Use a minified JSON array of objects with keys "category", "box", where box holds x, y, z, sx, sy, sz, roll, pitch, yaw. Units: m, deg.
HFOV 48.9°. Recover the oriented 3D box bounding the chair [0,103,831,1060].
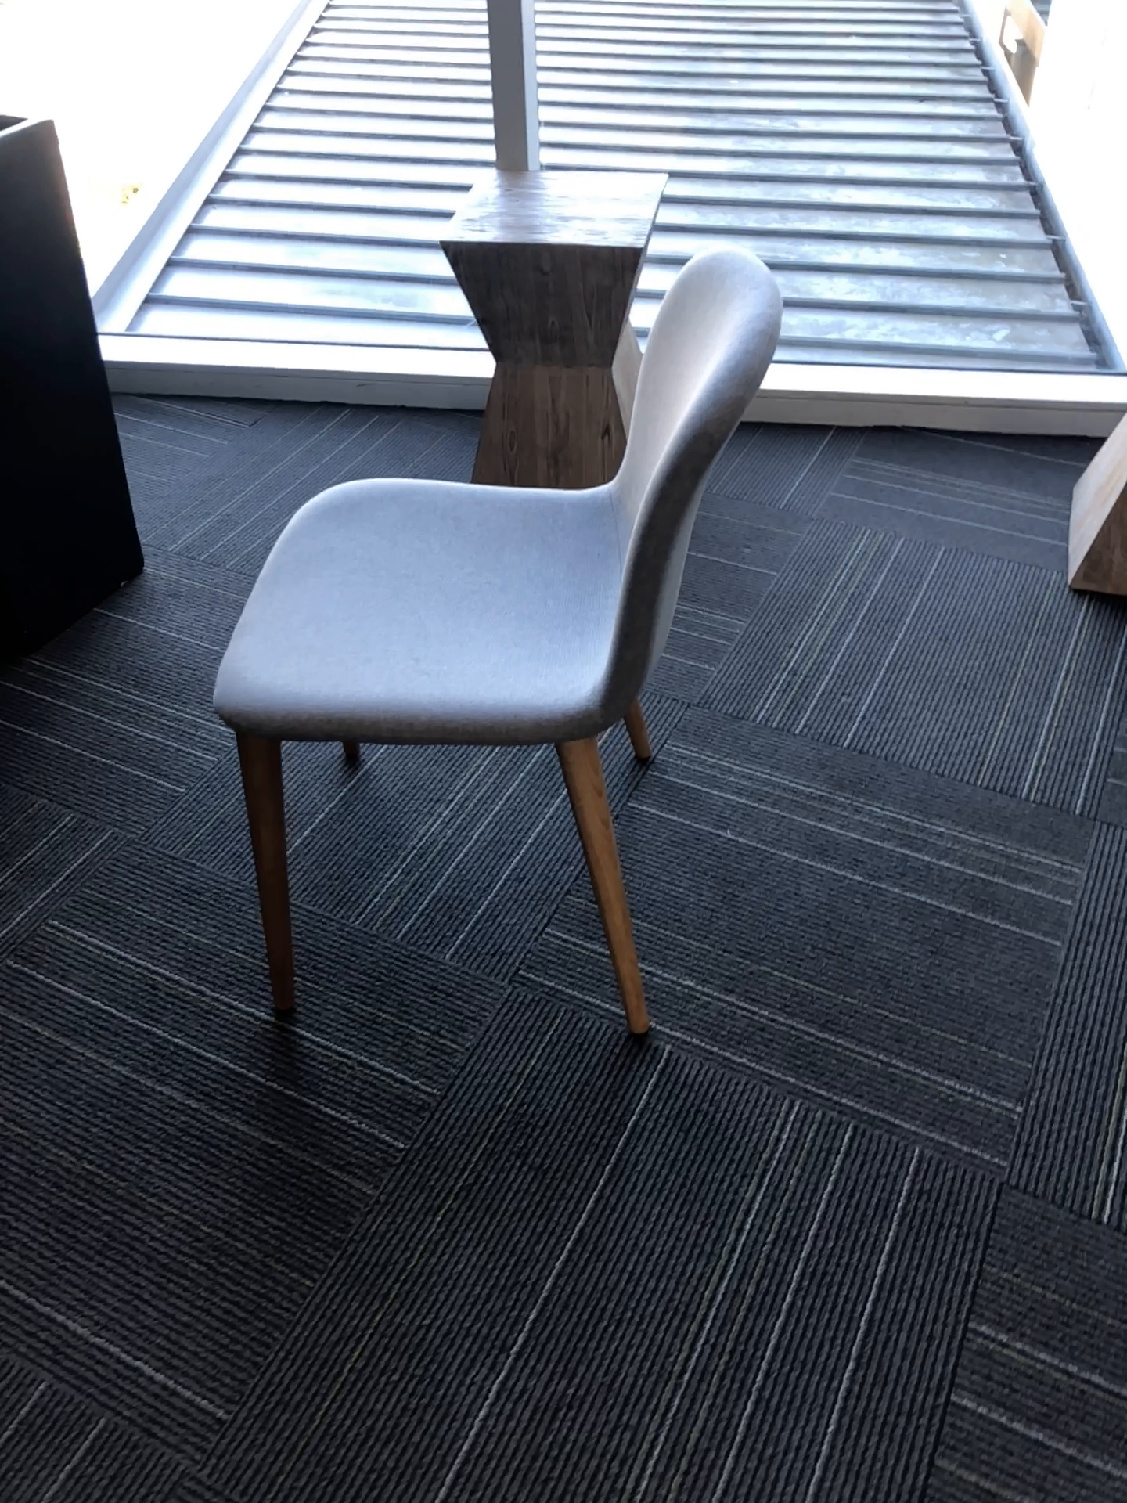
[{"category":"chair","box":[-0.100,-0.171,1.386,0.610,0.846,0.563,5,41,3]}]
